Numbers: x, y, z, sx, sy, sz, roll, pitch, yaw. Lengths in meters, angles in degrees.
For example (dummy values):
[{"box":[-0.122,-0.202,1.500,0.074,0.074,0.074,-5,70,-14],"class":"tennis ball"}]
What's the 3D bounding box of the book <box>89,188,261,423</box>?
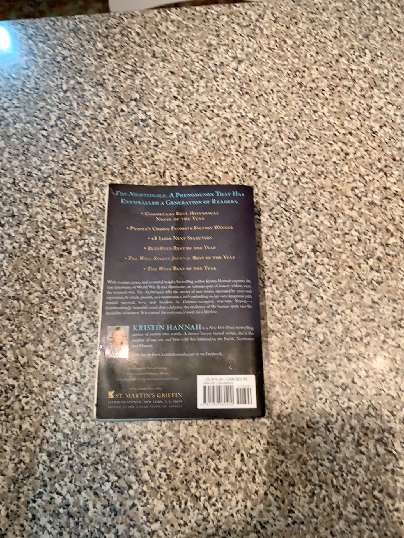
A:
[{"box":[-0.021,0.032,0.387,0.139,0.056,0.207,0,74,2],"class":"book"}]
